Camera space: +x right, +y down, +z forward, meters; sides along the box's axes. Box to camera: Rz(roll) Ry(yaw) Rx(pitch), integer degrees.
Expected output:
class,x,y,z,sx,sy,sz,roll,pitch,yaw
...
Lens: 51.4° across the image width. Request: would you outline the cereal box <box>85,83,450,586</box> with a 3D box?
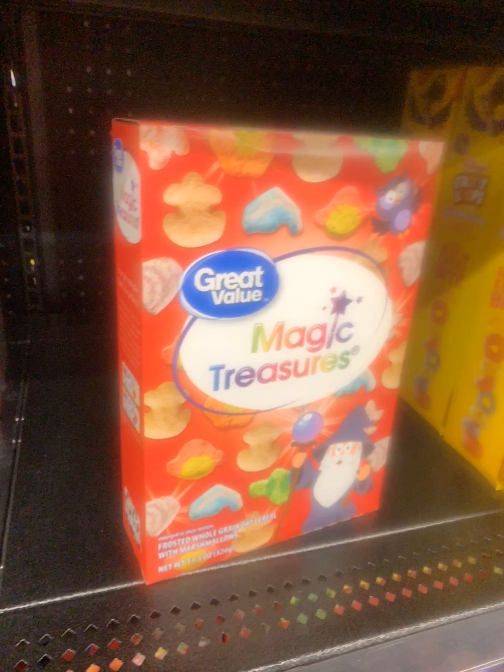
class,x,y,z,sx,sy,sz,roll,pitch,yaw
cereal box,0.010,-0.002,0.346,0.200,0.279,0.070,-8,21,-25
